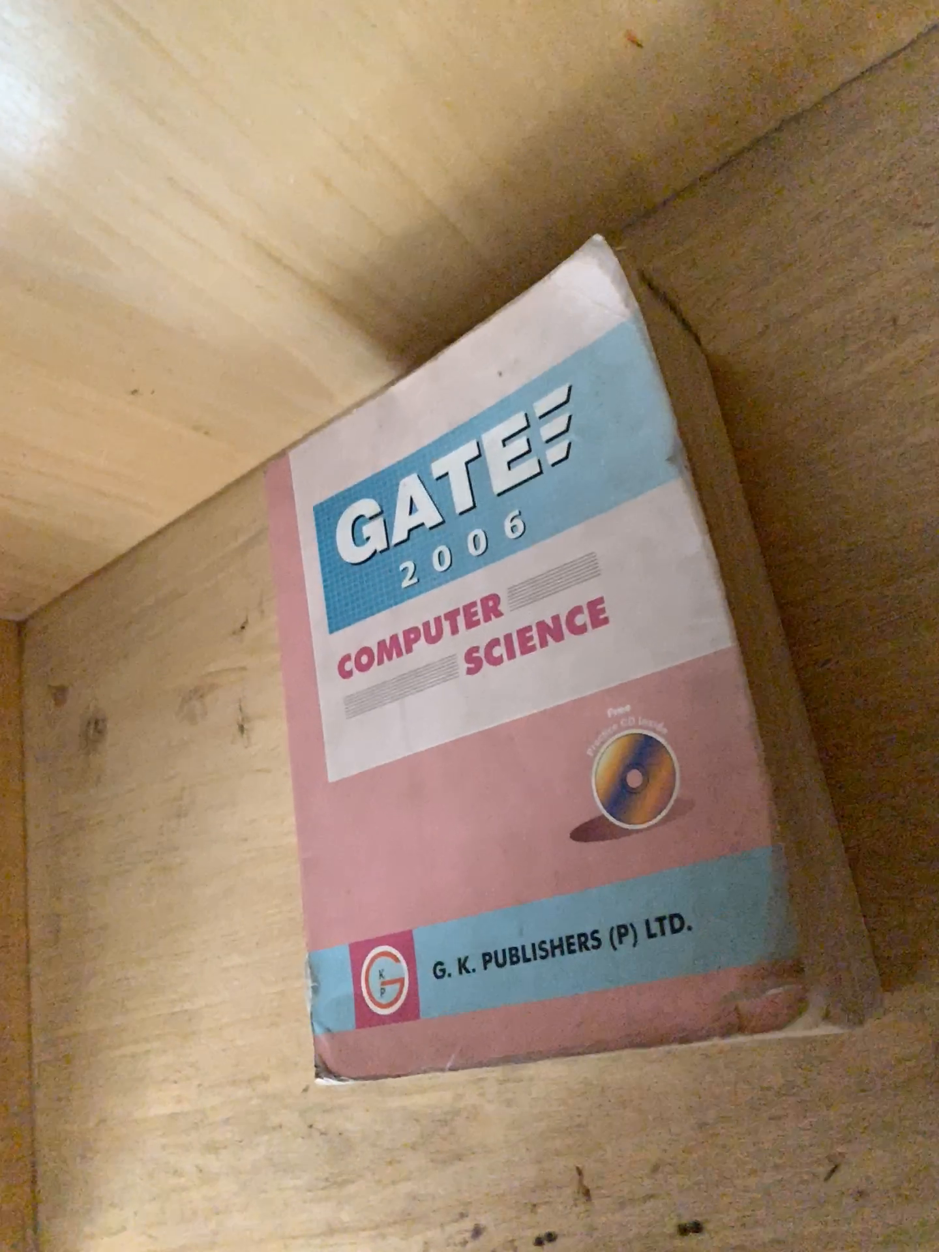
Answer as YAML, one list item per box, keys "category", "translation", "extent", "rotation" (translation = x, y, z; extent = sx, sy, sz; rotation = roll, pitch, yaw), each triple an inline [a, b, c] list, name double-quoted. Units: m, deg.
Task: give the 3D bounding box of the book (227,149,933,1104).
- category: "book"
  translation: [0.015, 0.008, 0.345]
  extent: [0.190, 0.080, 0.271]
  rotation: [-21, 65, 30]
